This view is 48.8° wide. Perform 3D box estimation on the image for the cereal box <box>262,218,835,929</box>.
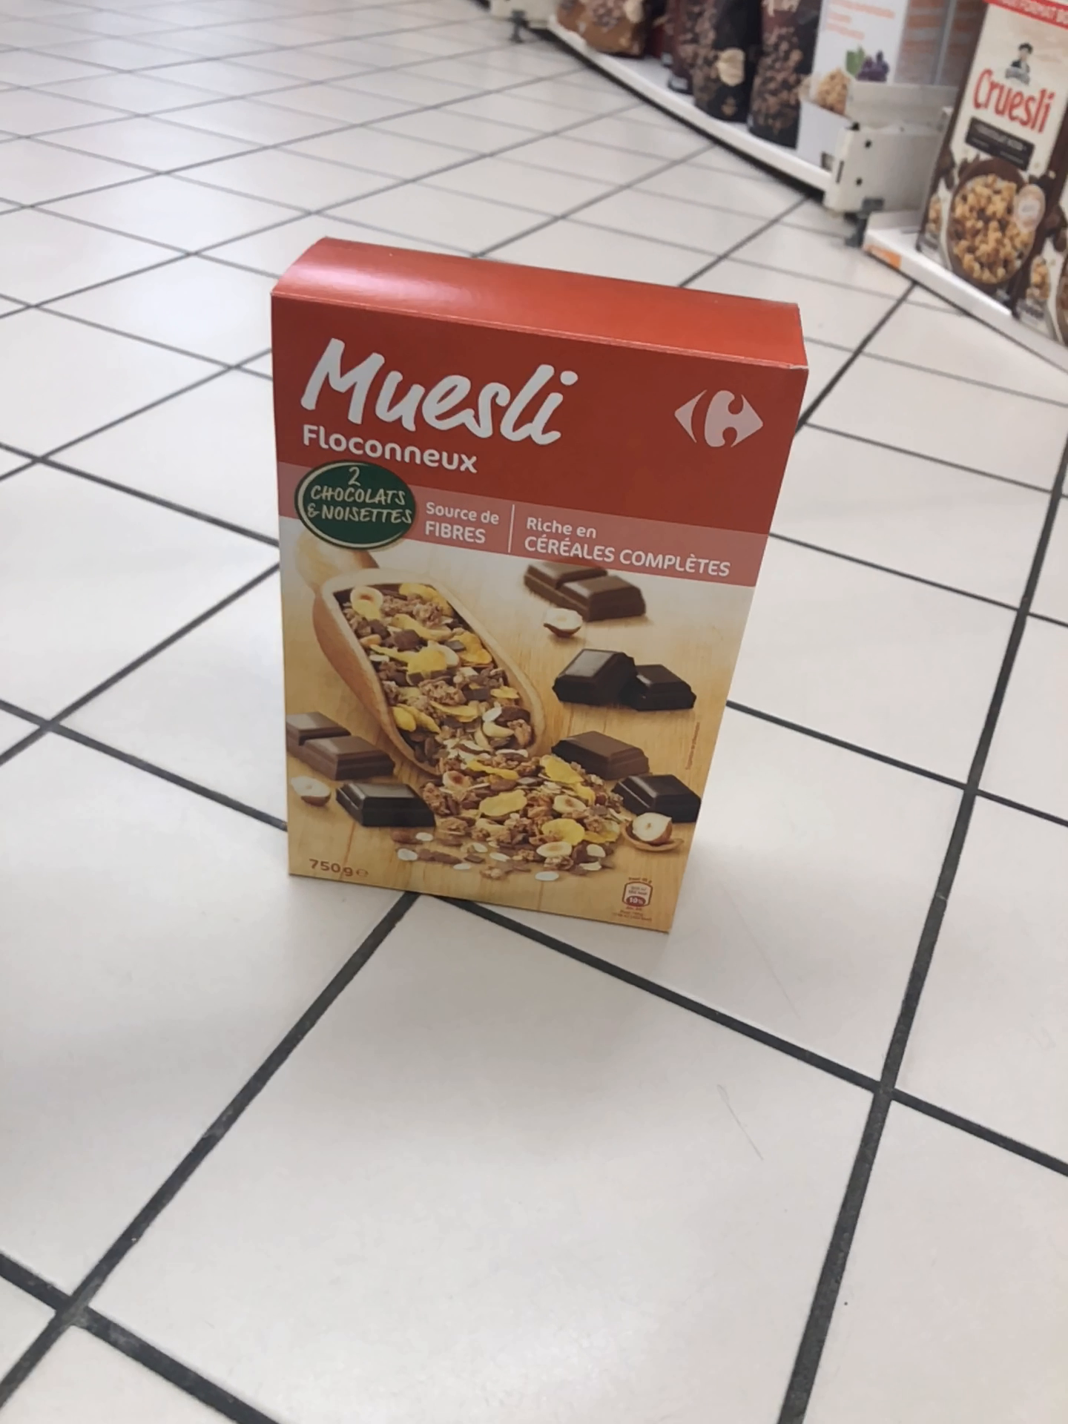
[{"bbox_3d":[-0.006,-0.040,0.444,0.170,0.238,0.070,9,36,1],"label":"cereal box"}]
